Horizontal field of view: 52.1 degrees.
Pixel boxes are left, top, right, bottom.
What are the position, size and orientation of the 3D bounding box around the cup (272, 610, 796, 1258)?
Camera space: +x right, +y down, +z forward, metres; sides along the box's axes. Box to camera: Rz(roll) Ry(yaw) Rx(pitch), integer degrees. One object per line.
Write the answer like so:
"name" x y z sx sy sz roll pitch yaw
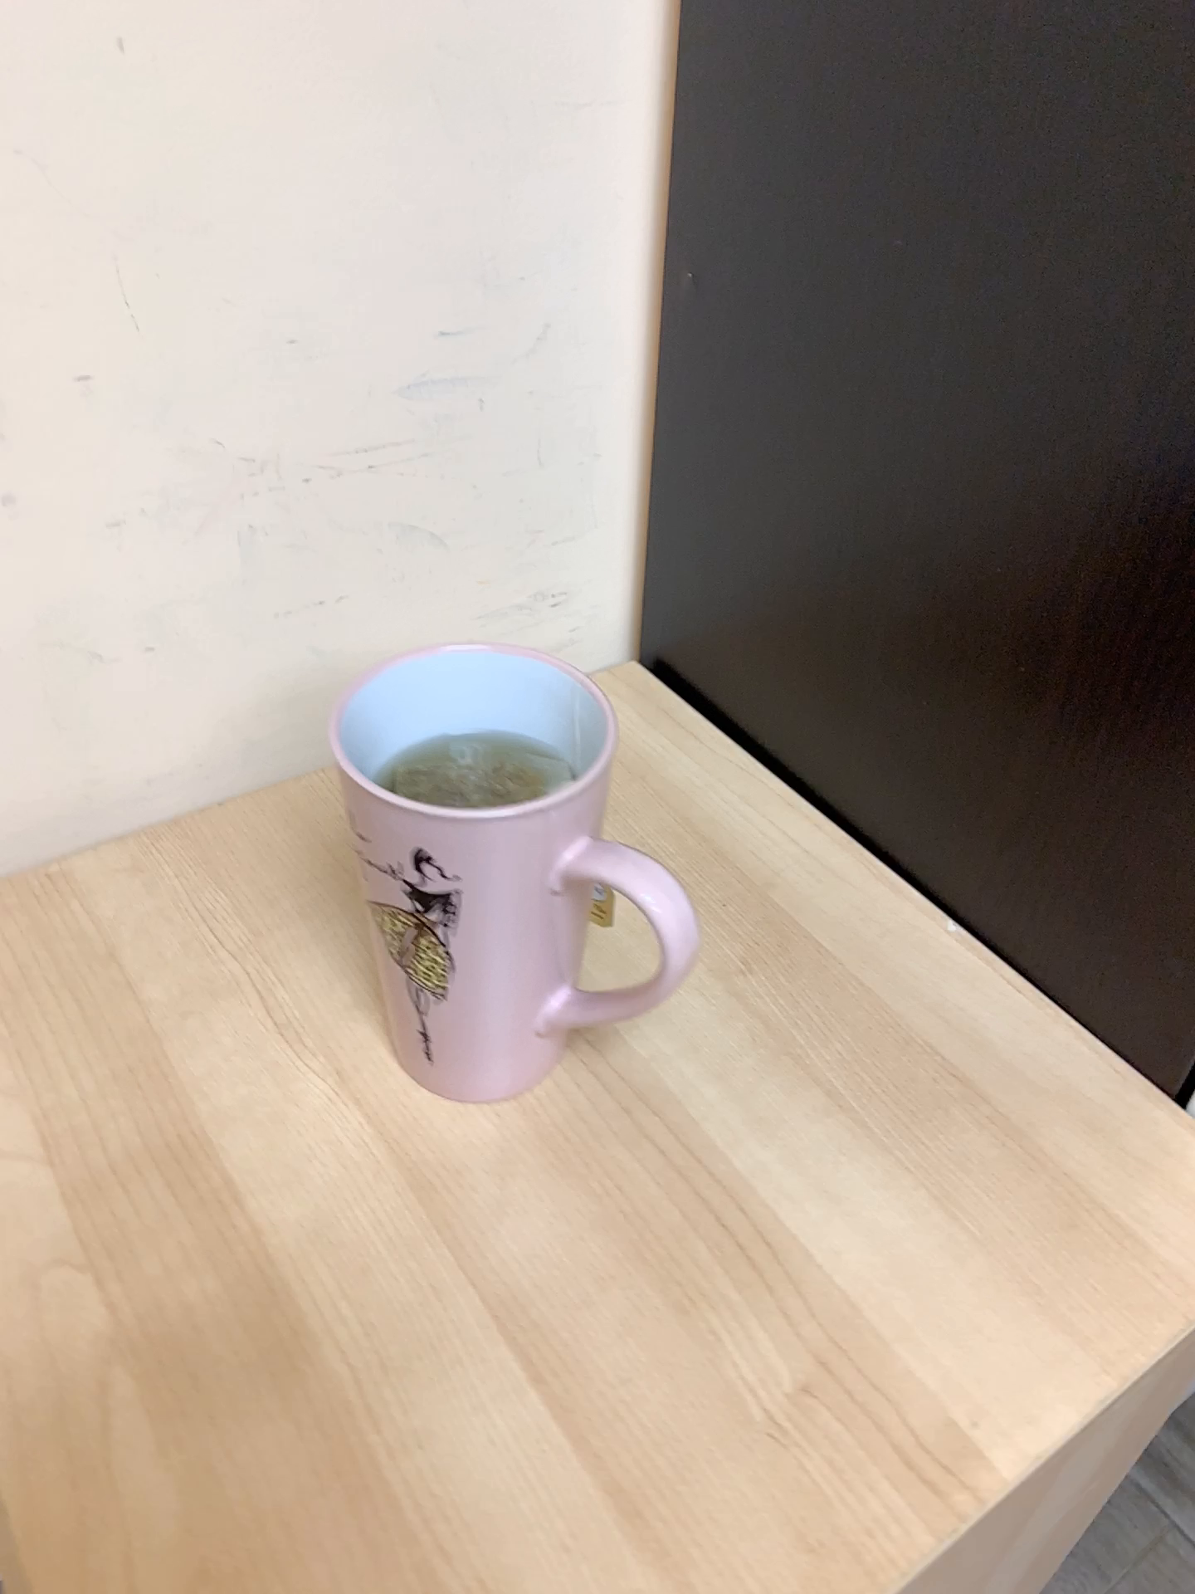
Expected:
"cup" -0.024 0.043 0.419 0.134 0.151 0.093 32 48 31
